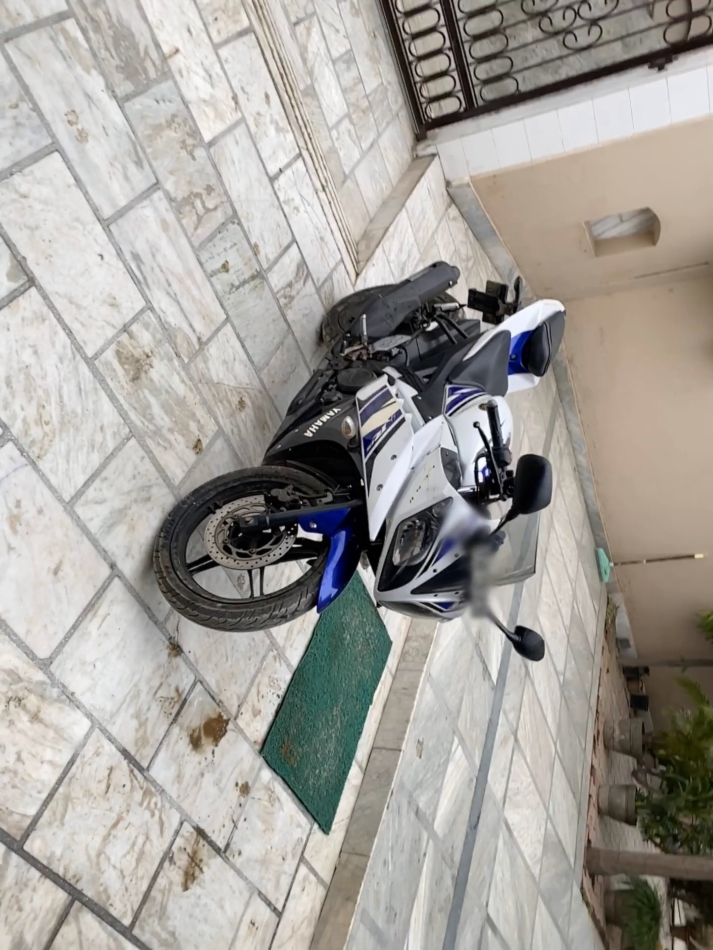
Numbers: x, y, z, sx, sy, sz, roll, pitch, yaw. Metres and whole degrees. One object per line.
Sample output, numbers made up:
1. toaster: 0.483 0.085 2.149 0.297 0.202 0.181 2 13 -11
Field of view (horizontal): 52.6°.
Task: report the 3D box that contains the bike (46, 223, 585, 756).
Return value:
1. bike: 0.087 -0.083 2.563 1.888 0.902 0.735 -57 135 -43
